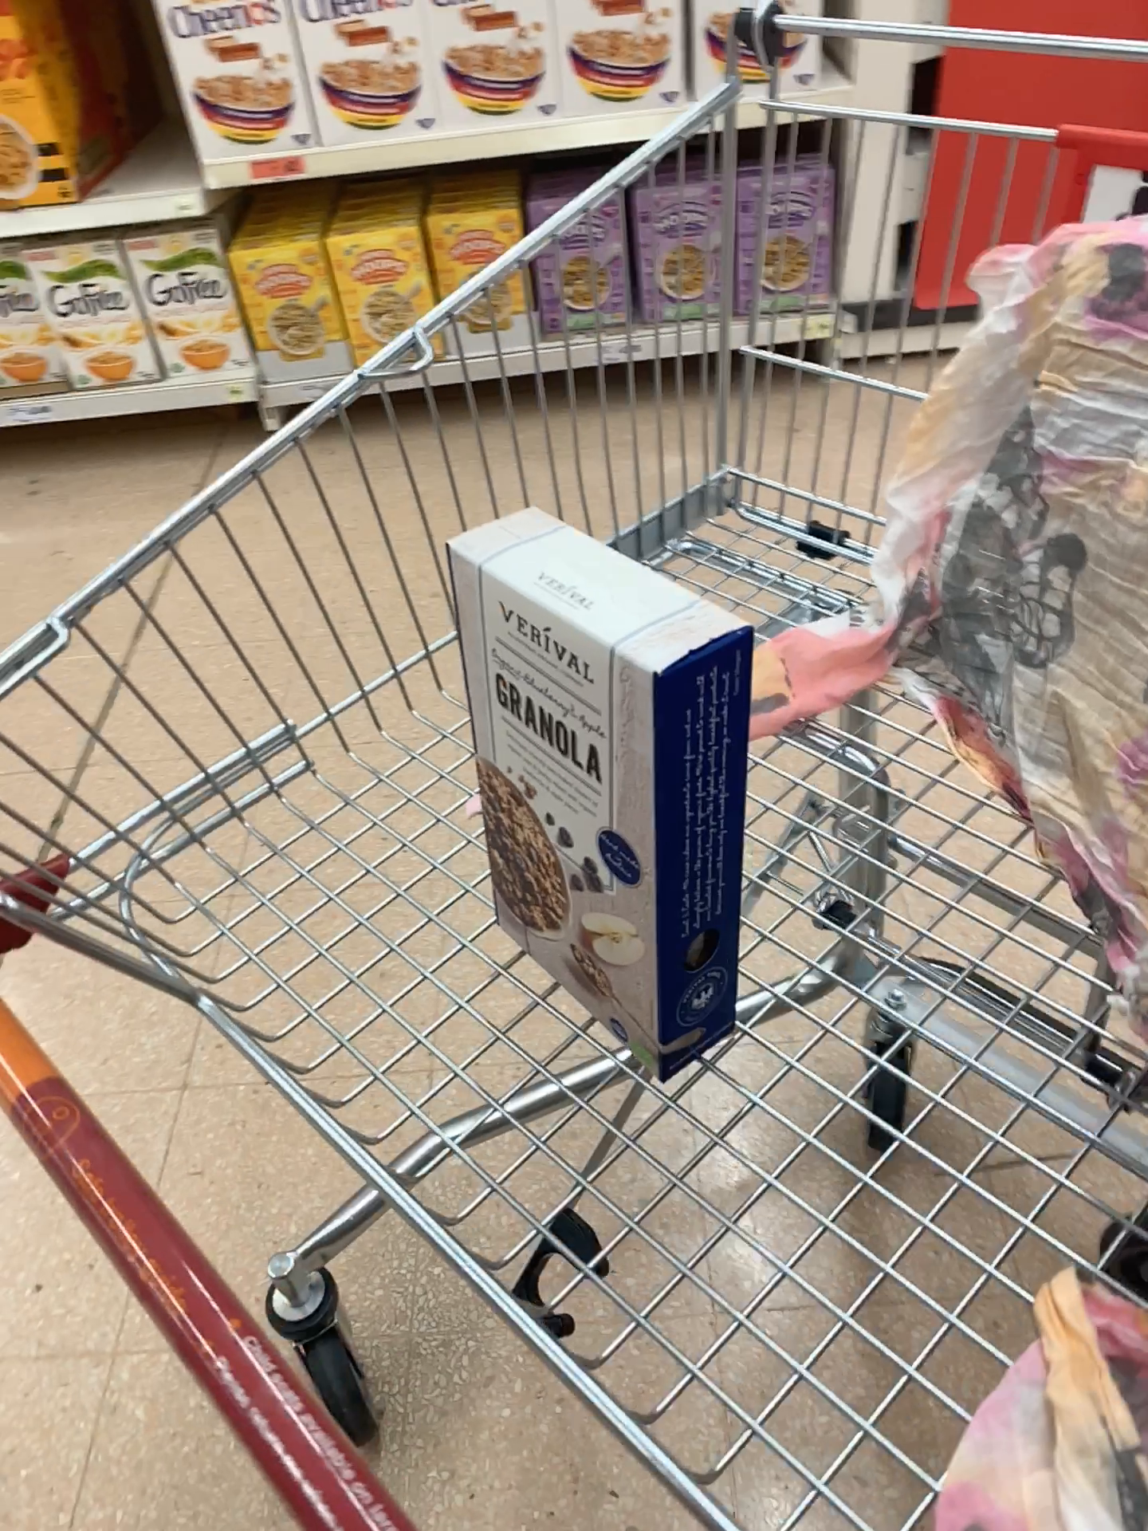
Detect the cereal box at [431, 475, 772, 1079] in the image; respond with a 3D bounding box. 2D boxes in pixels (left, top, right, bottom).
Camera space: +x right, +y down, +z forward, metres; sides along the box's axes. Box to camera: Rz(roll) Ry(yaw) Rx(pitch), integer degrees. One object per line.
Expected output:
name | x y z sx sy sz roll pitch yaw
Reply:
cereal box | 0.010 0.009 0.512 0.050 0.228 0.141 -28 45 -28
